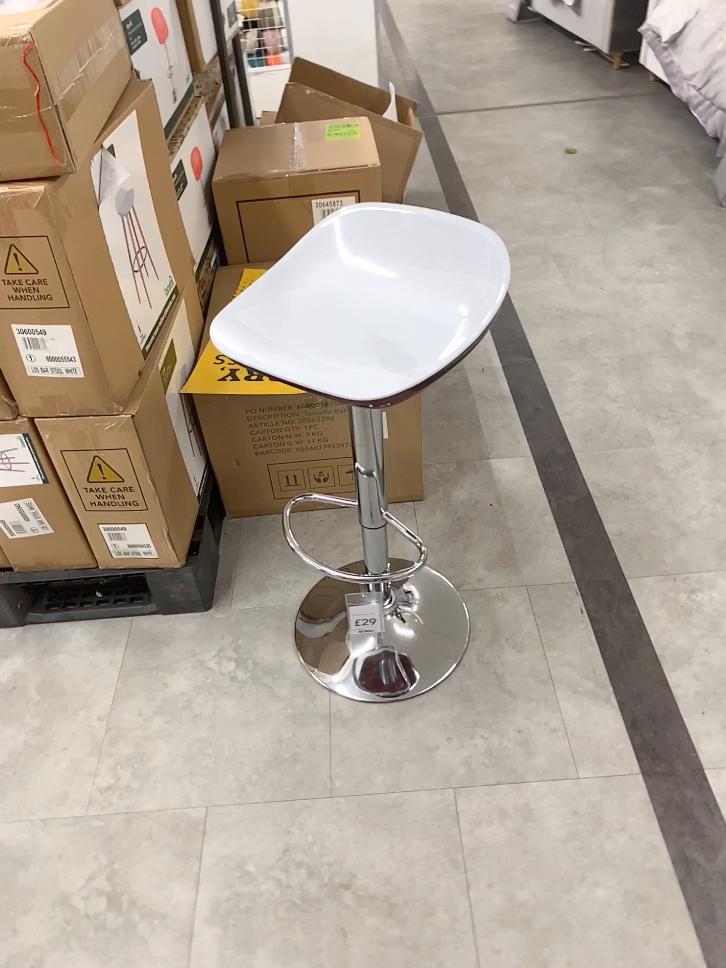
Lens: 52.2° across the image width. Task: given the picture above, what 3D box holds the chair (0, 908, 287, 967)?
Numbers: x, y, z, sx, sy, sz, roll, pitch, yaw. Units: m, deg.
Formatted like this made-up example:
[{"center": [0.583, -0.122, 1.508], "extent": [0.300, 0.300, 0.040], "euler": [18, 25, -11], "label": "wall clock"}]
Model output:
[{"center": [-0.504, 0.792, 0.439], "extent": [0.644, 0.926, 0.526], "euler": [8, 43, 15], "label": "chair"}]

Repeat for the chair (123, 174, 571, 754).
[{"center": [0.022, -0.025, 1.280], "extent": [0.445, 0.797, 0.455], "euler": [19, 47, 26], "label": "chair"}]
